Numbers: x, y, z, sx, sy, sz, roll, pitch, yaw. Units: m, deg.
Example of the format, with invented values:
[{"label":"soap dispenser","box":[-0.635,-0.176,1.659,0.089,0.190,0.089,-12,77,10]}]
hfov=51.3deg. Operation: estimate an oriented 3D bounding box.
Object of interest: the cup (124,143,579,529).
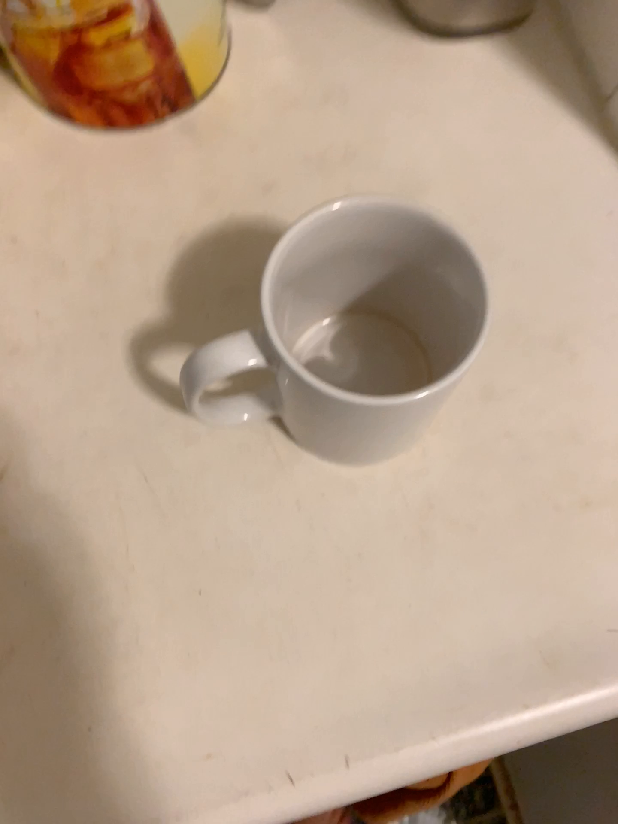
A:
[{"label":"cup","box":[0.013,-0.025,0.284,0.140,0.110,0.090,-21,74,-8]}]
